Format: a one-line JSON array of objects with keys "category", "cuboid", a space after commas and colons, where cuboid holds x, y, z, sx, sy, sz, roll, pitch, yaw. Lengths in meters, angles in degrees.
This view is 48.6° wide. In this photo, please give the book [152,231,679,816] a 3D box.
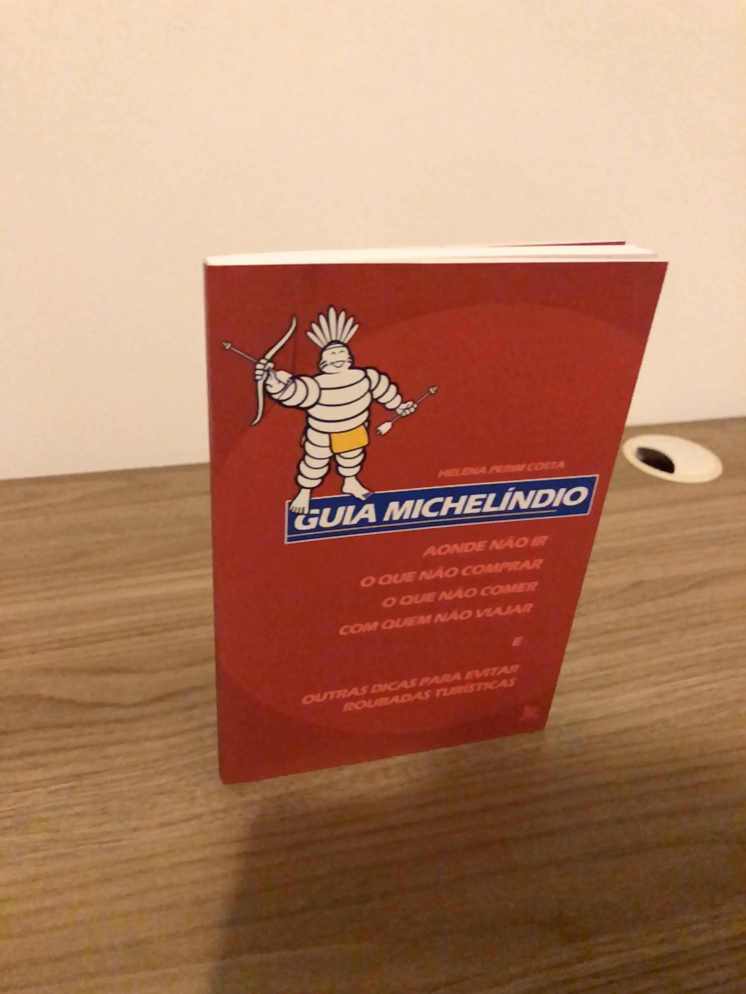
[{"category": "book", "cuboid": [0.008, 0.020, 0.291, 0.150, 0.218, 0.020, -6, 35, -16]}]
